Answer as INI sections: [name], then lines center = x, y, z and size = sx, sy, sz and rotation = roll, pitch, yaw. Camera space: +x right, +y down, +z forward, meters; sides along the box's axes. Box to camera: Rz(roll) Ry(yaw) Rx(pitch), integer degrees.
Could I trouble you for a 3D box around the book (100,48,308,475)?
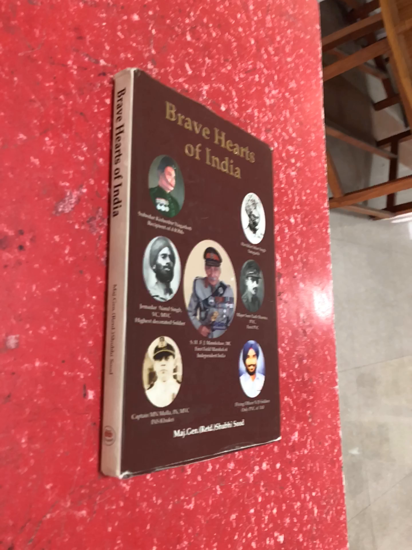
[book]
center = 0.007, -0.004, 0.296
size = 0.151, 0.030, 0.220
rotation = 10, 75, -46
